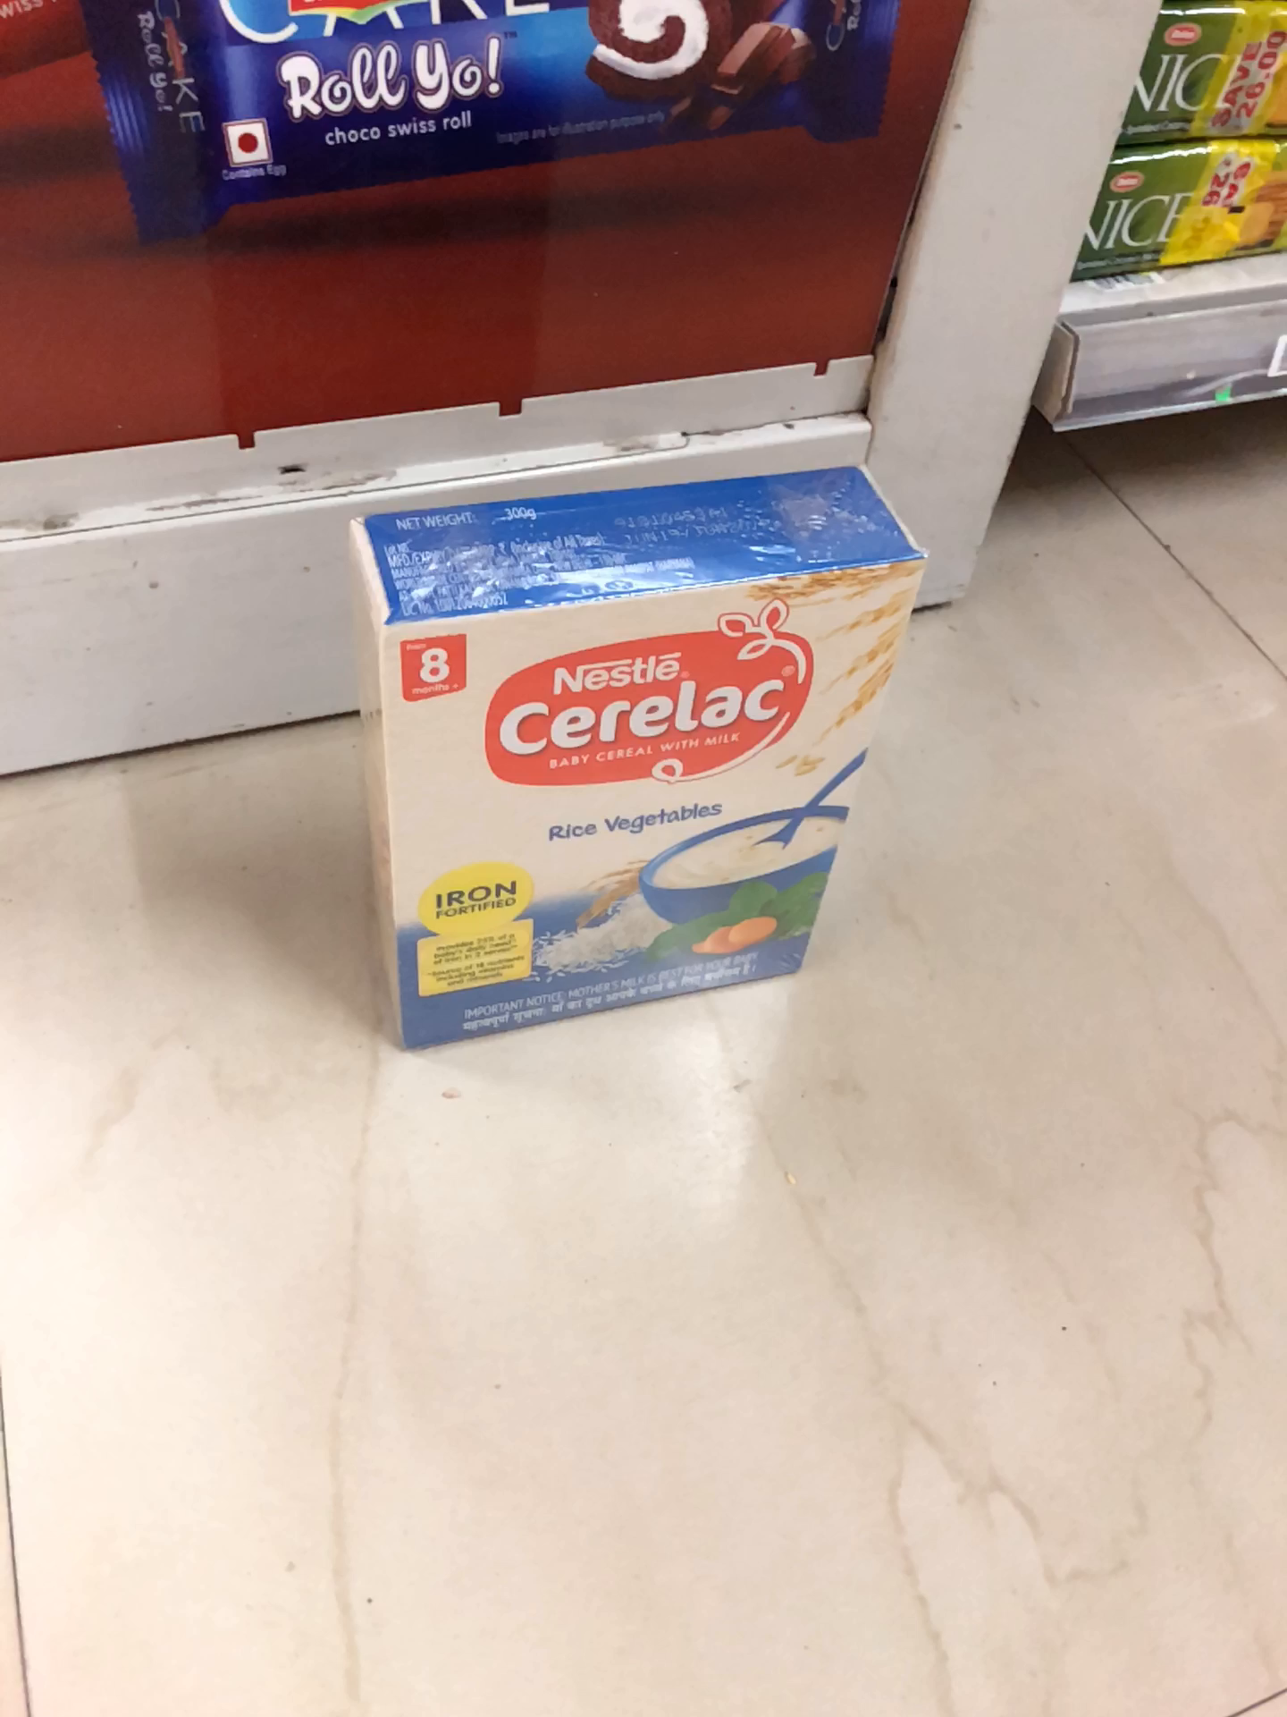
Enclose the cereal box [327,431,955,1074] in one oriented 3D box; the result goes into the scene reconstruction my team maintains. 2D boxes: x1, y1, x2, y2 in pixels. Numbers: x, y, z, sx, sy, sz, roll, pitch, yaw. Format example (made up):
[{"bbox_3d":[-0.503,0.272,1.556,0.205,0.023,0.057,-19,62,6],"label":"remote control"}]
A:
[{"bbox_3d":[-0.009,-0.026,0.459,0.160,0.199,0.060,-11,51,-16],"label":"cereal box"}]
